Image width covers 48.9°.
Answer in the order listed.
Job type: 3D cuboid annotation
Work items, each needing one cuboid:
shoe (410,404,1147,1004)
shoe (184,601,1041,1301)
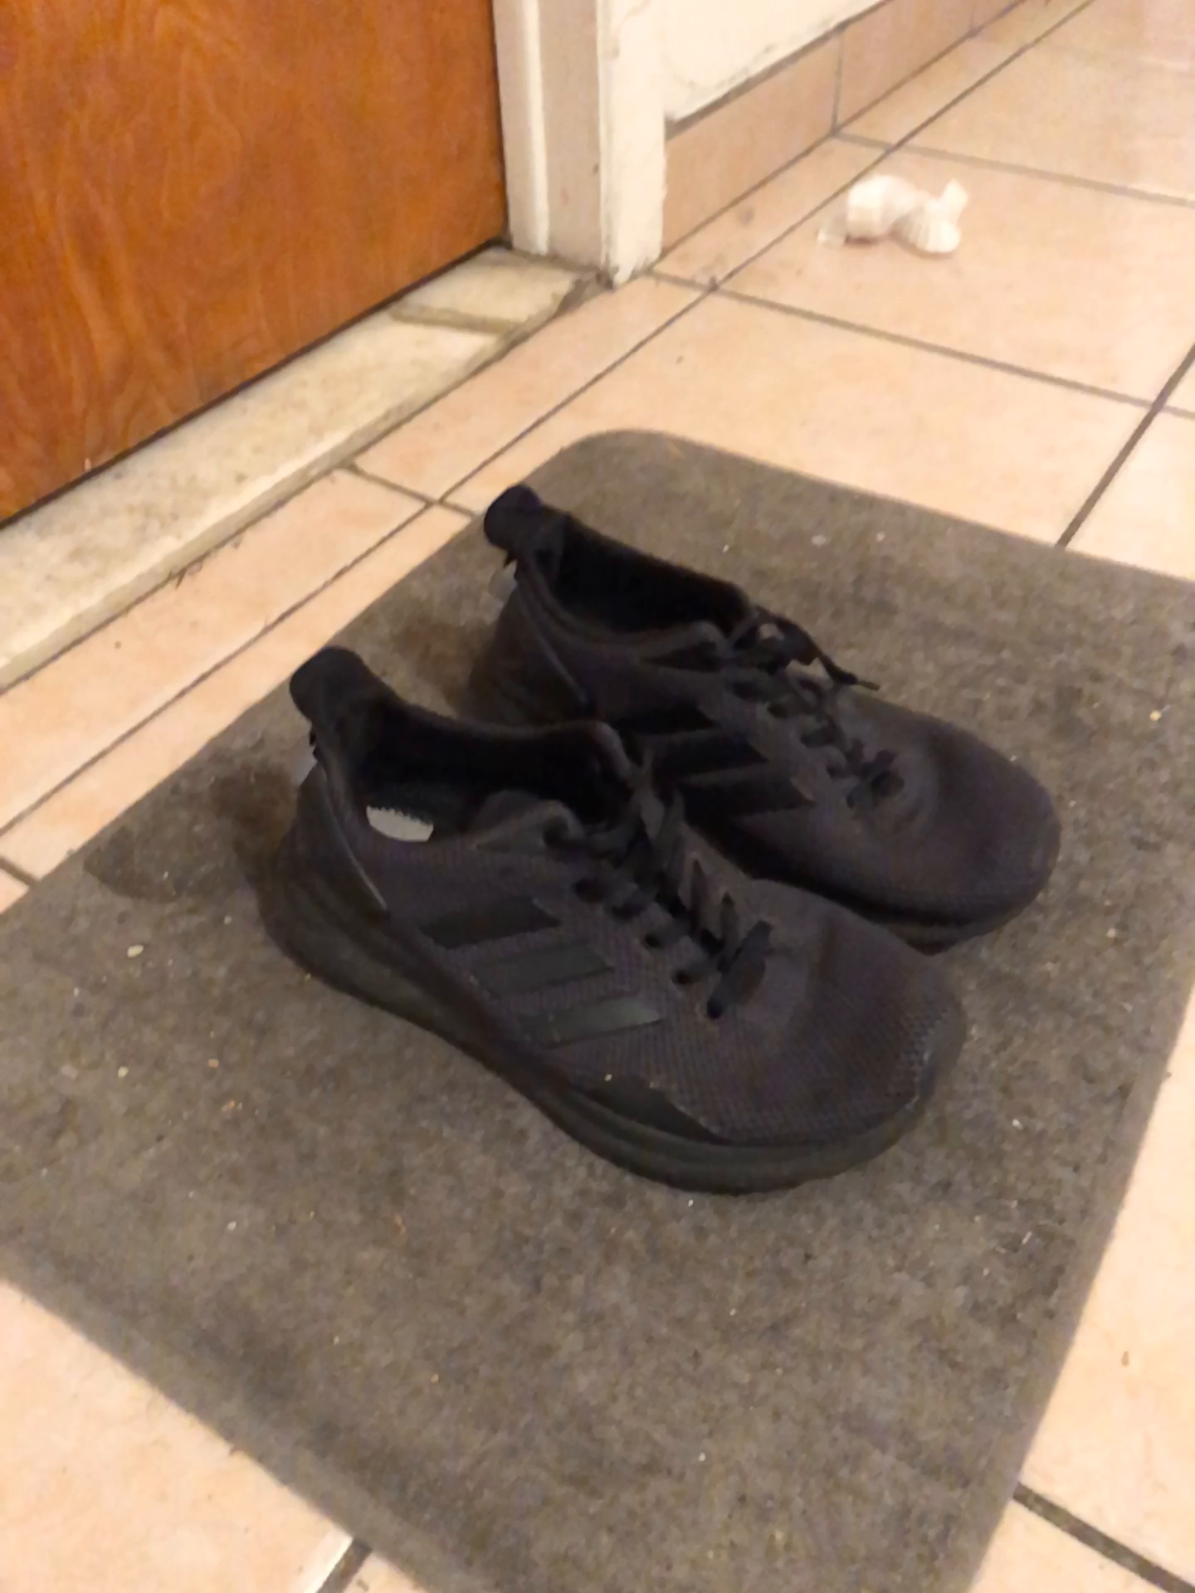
[{"bbox_3d":[0.064,-0.048,0.545,0.261,0.119,0.111,27,52,25],"label":"shoe"},{"bbox_3d":[0.001,0.044,0.470,0.260,0.119,0.111,21,45,20],"label":"shoe"}]
